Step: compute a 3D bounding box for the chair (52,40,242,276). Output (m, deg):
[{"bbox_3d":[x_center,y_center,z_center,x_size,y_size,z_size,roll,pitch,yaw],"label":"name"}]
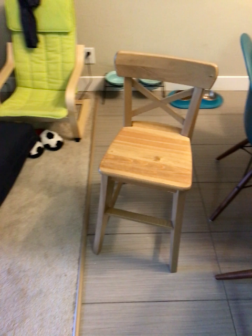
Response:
[{"bbox_3d":[0.078,-0.005,1.039,0.440,0.685,0.494,12,50,6],"label":"chair"}]
